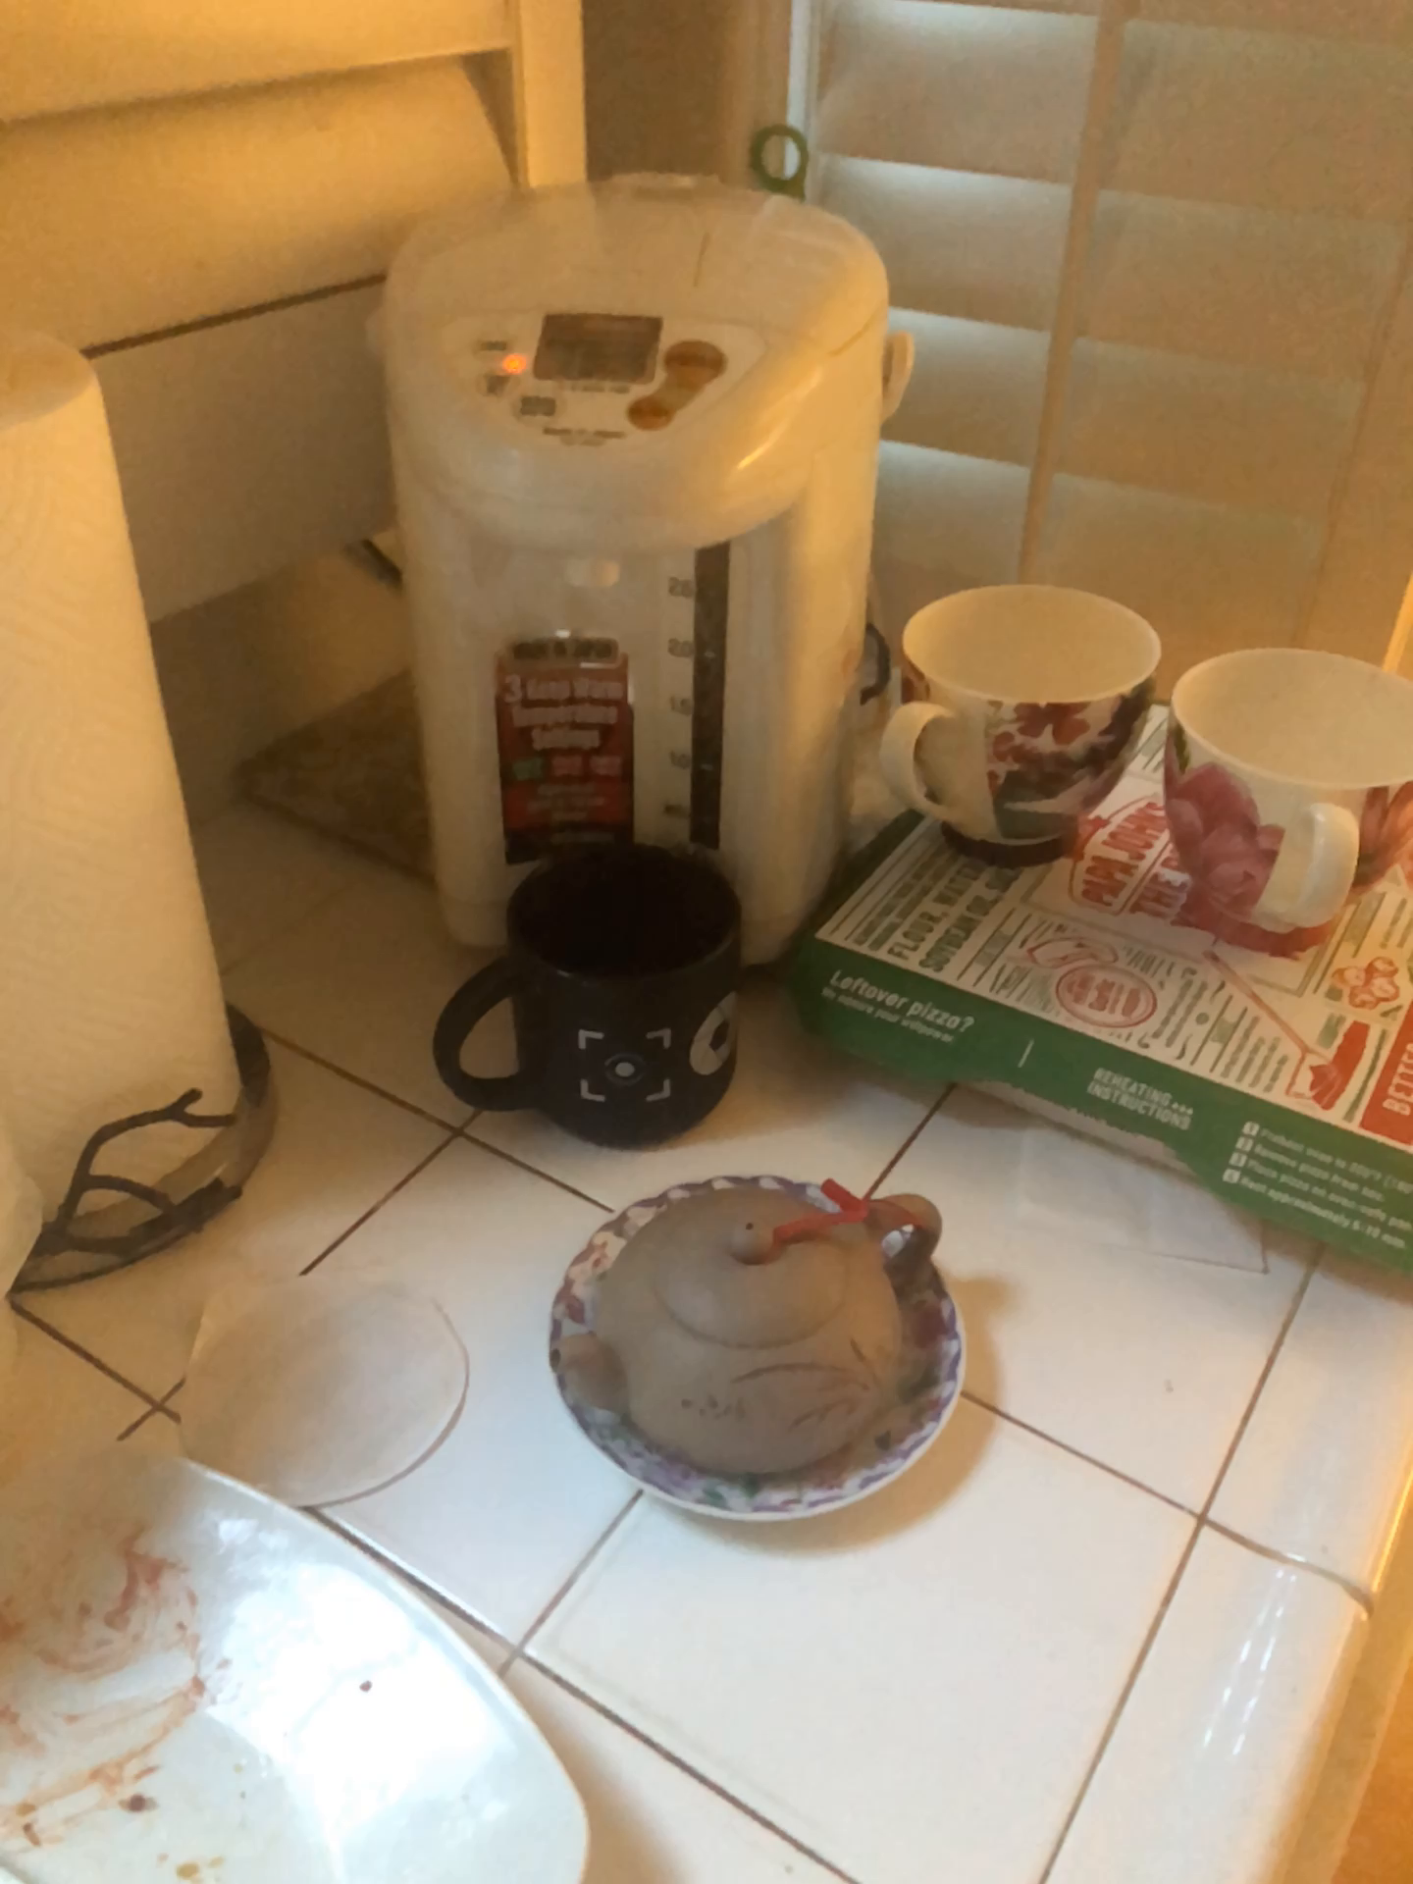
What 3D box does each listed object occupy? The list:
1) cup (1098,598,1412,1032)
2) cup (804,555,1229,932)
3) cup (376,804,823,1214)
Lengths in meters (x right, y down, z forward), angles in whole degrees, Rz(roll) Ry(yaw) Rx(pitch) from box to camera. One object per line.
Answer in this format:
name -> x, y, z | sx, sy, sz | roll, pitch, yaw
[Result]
cup -> 0.231, -0.057, 0.613 | 0.100, 0.079, 0.161 | 18, 40, 20
cup -> 0.134, -0.092, 0.677 | 0.100, 0.079, 0.161 | 29, 45, 32
cup -> -0.040, 0.021, 0.607 | 0.141, 0.079, 0.090 | -21, 43, -27
